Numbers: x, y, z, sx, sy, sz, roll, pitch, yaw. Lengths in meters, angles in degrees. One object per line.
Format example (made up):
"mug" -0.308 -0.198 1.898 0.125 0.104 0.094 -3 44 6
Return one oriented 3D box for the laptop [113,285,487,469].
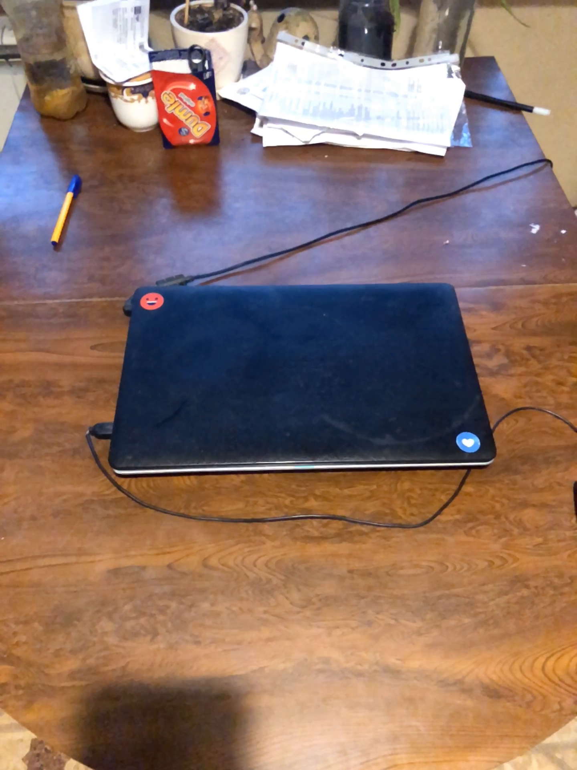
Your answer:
"laptop" 0.012 -0.020 0.689 0.366 0.007 0.239 0 54 -3
